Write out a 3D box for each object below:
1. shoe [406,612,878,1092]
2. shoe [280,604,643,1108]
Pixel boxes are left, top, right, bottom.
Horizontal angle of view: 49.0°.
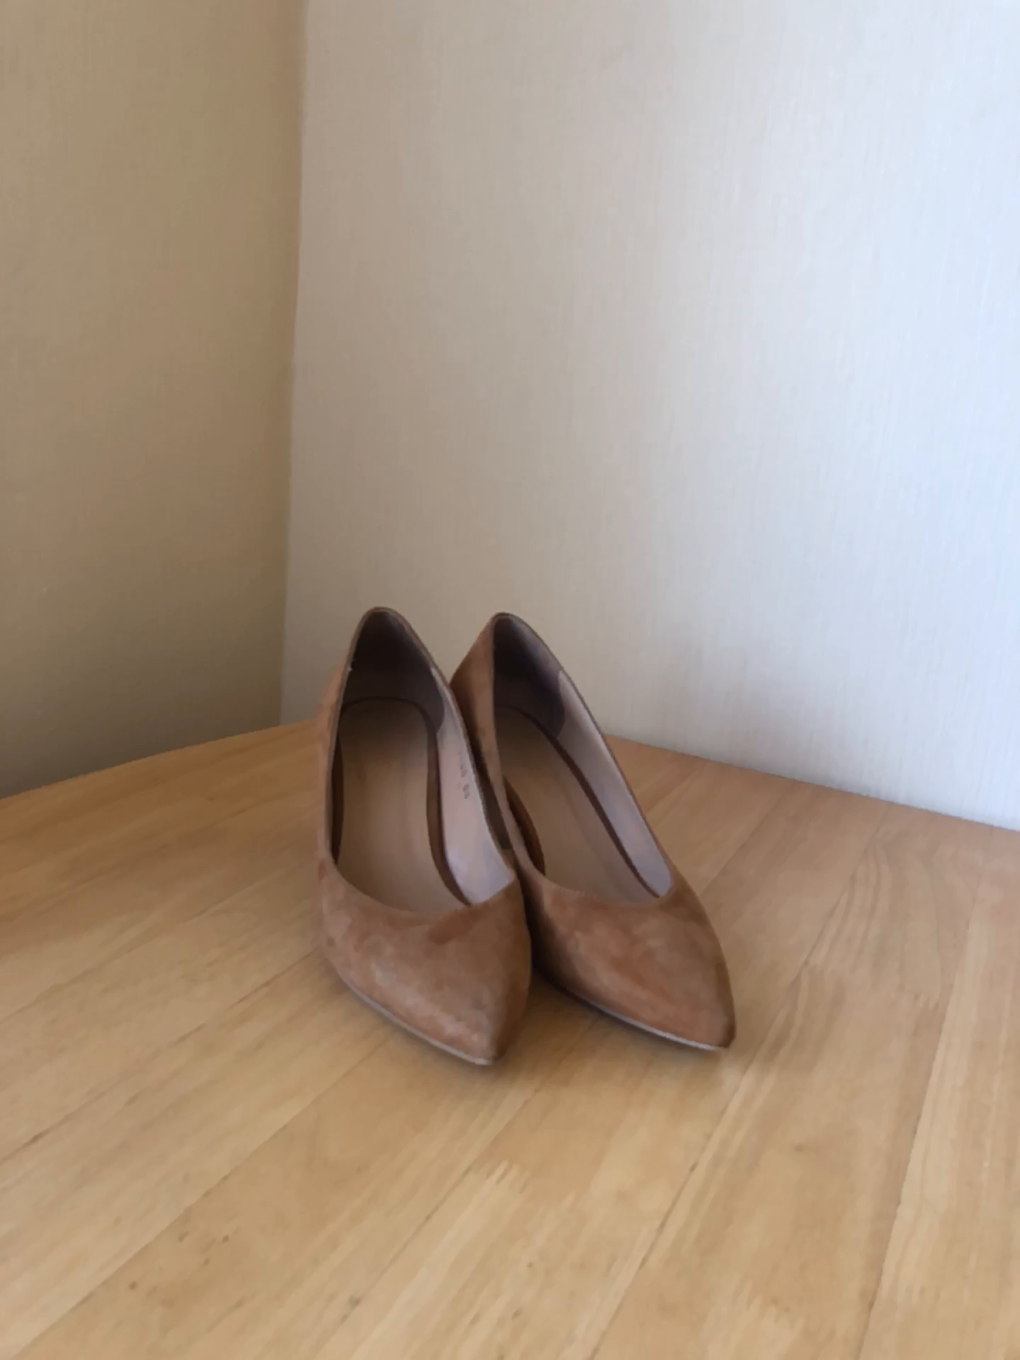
[{"bbox_3d":[0.036,0.052,0.505,0.089,0.110,0.261,-1,16,-22],"label":"shoe"},{"bbox_3d":[-0.039,0.050,0.474,0.089,0.110,0.251,0,16,-17],"label":"shoe"}]
